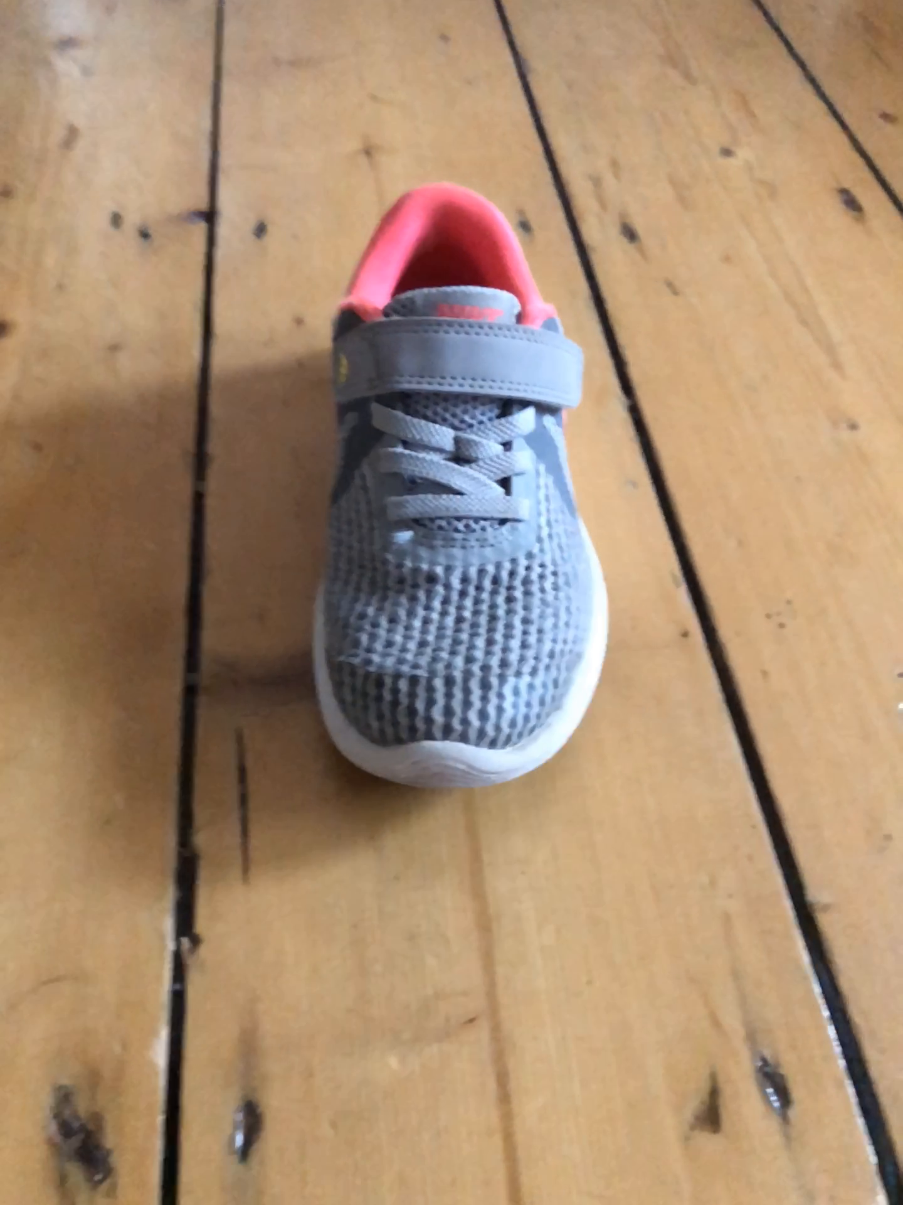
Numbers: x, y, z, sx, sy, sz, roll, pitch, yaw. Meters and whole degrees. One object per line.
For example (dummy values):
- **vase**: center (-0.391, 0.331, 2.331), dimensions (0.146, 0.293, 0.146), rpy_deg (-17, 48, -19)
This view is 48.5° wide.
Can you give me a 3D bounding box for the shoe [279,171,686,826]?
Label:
- **shoe**: center (0.001, -0.038, 0.279), dimensions (0.080, 0.070, 0.181), rpy_deg (-1, 53, -3)
